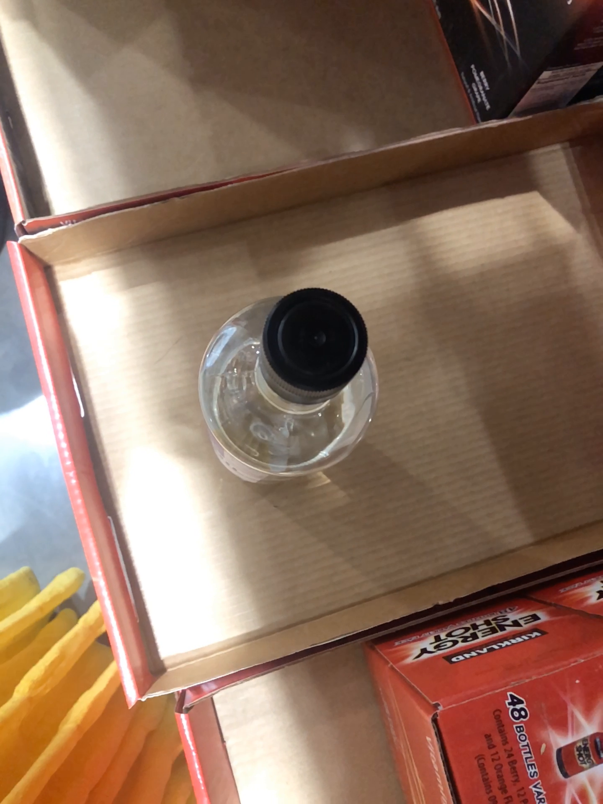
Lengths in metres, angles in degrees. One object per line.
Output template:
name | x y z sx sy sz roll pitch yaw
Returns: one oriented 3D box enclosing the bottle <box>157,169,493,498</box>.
bottle | -0.010 -0.002 0.338 0.080 0.292 0.077 1 81 -7
